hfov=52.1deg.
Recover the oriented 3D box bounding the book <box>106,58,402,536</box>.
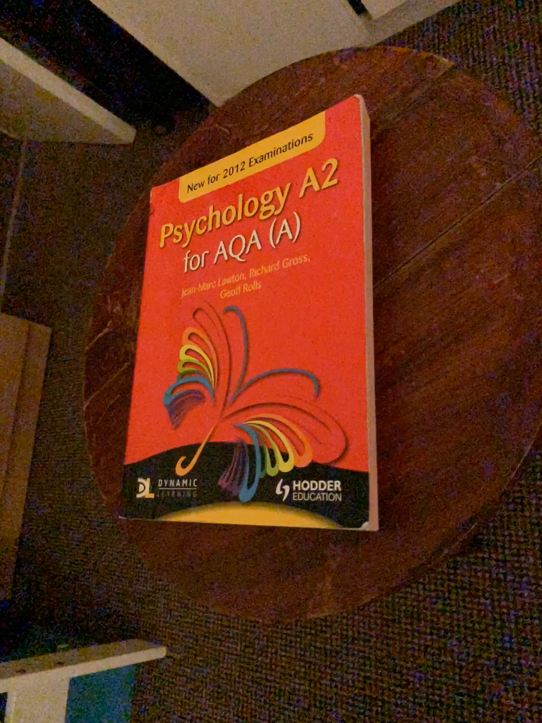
[{"bbox_3d":[-0.017,-0.035,0.392,0.211,0.040,0.291,-9,70,37],"label":"book"}]
